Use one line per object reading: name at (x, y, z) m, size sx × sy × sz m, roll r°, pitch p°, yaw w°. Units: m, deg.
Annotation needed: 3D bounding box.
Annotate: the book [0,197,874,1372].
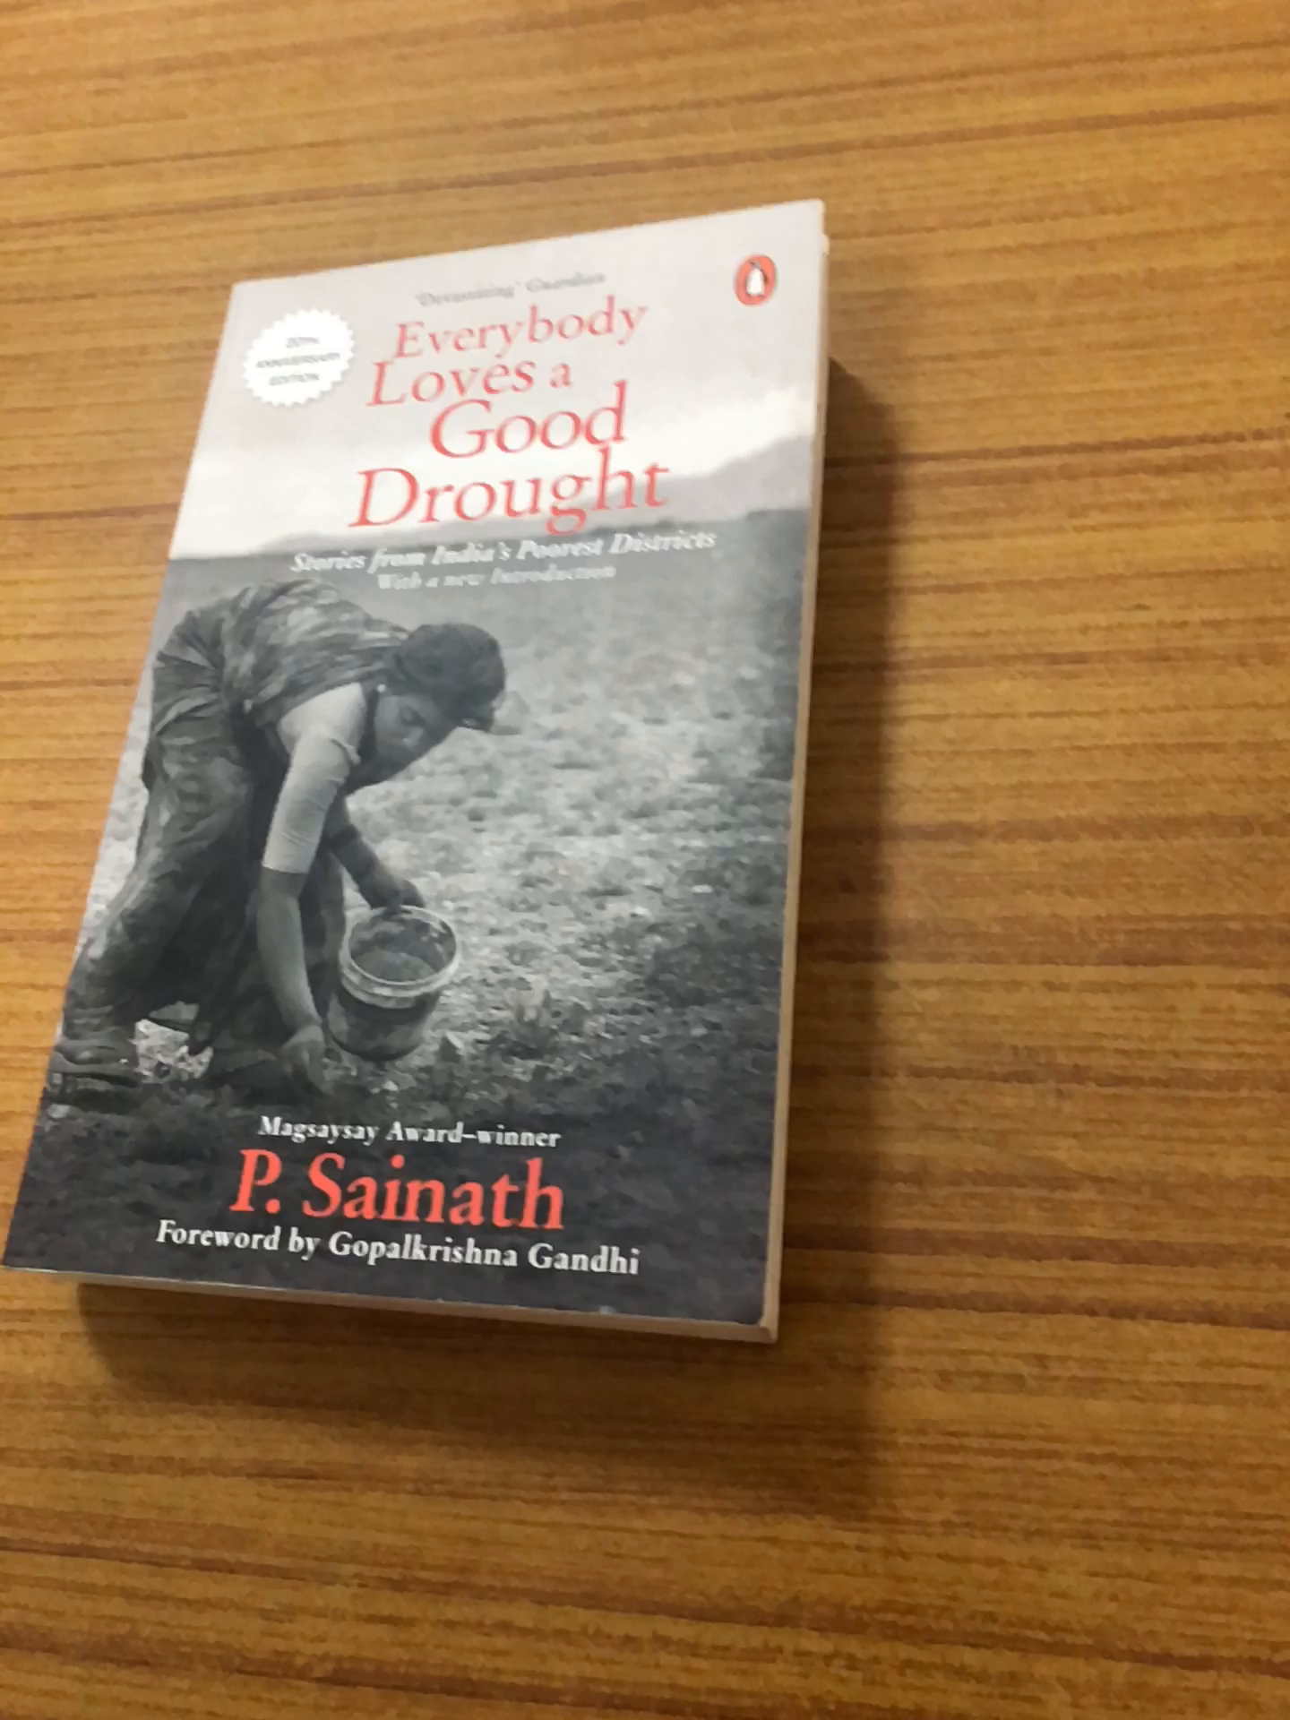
book at (-0.033, -0.022, 0.271) m, size 0.140 × 0.040 × 0.210 m, roll 1°, pitch 70°, yaw 12°
